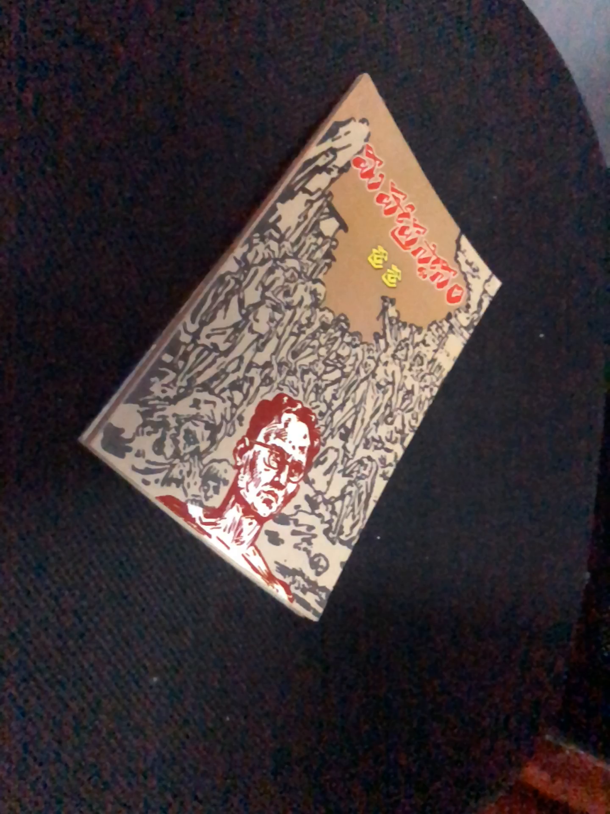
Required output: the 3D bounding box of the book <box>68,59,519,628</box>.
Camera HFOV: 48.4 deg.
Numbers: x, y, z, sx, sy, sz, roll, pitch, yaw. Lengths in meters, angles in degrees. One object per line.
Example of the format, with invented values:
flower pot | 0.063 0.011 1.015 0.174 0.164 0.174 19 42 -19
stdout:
book | 0.017 -0.029 0.316 0.141 0.018 0.220 45 67 -32
